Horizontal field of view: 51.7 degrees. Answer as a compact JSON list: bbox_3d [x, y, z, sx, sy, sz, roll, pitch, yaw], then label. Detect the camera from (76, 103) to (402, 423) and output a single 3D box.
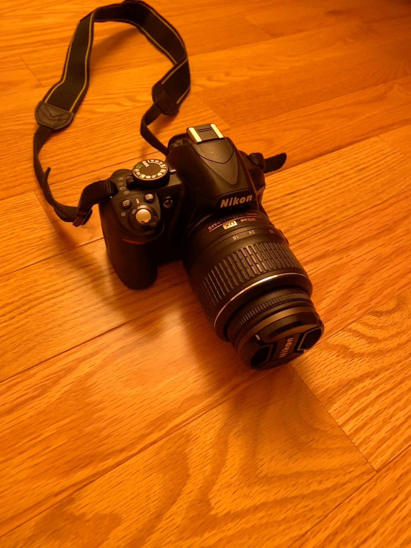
[{"bbox_3d":[0.007,-0.017,0.285,0.130,0.099,0.161,-18,54,-18],"label":"camera"}]
